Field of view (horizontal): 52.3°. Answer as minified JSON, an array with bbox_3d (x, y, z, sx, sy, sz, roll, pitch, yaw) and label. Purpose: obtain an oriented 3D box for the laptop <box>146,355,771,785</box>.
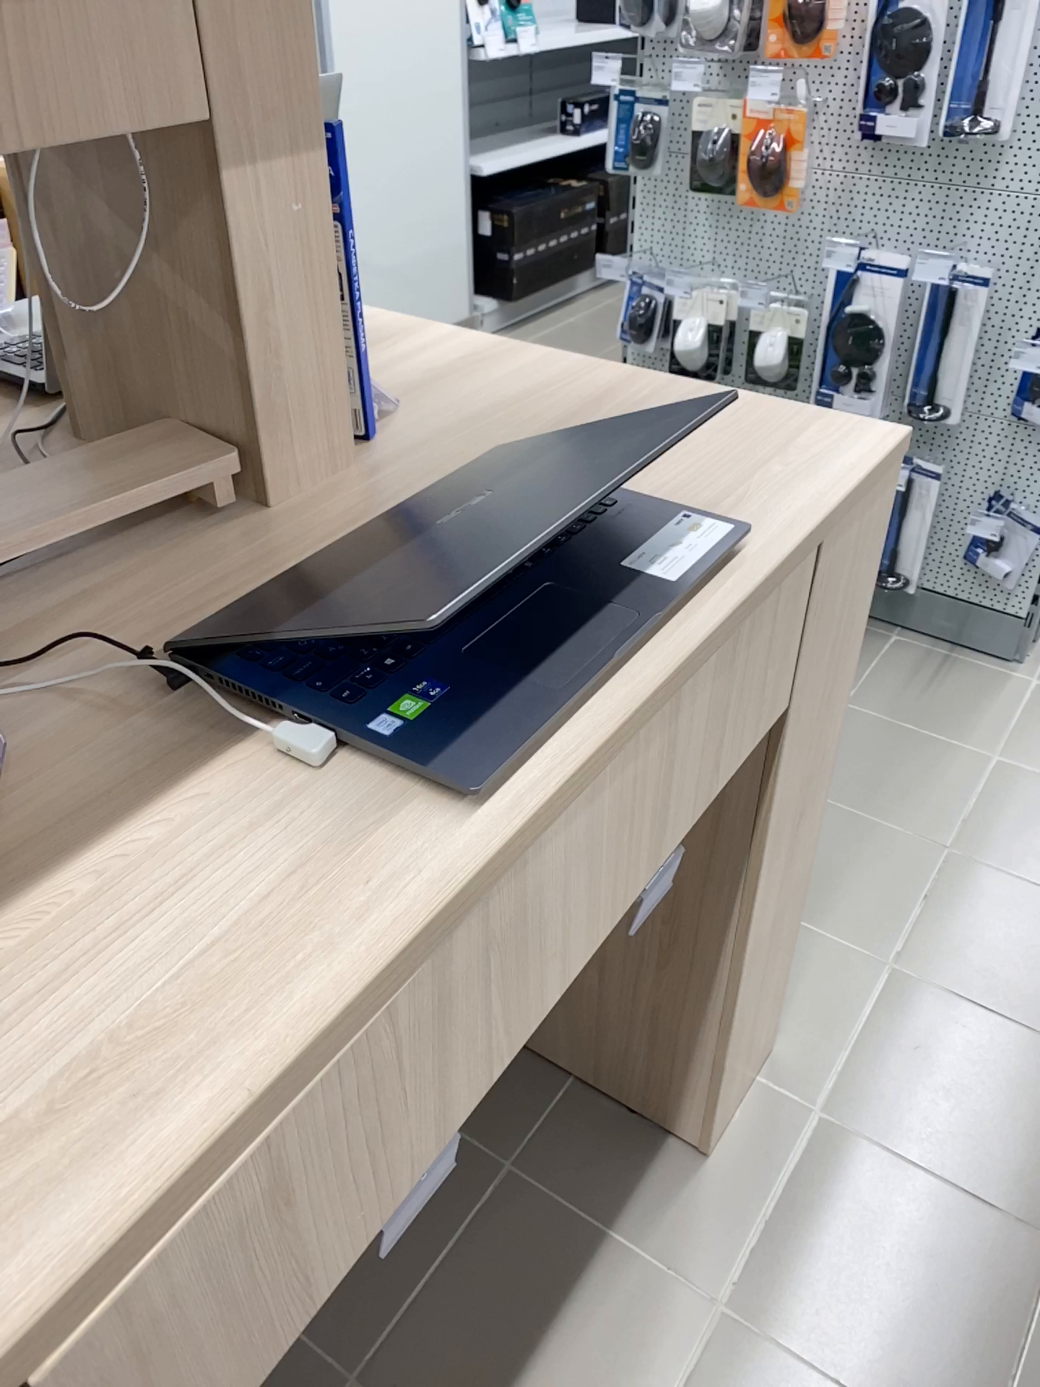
[{"bbox_3d":[-0.018,-0.111,0.698,0.236,0.088,0.354,21,40,26],"label":"laptop"}]
